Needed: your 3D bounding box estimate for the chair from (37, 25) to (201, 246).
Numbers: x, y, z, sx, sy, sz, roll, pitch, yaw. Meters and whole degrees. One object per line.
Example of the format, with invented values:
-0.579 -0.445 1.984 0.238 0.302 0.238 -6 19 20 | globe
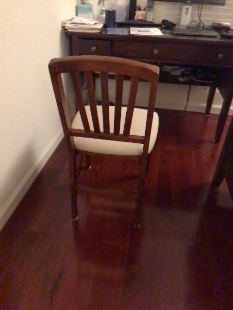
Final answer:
0.035 -0.137 1.353 0.530 0.893 0.726 7 34 6 | chair
